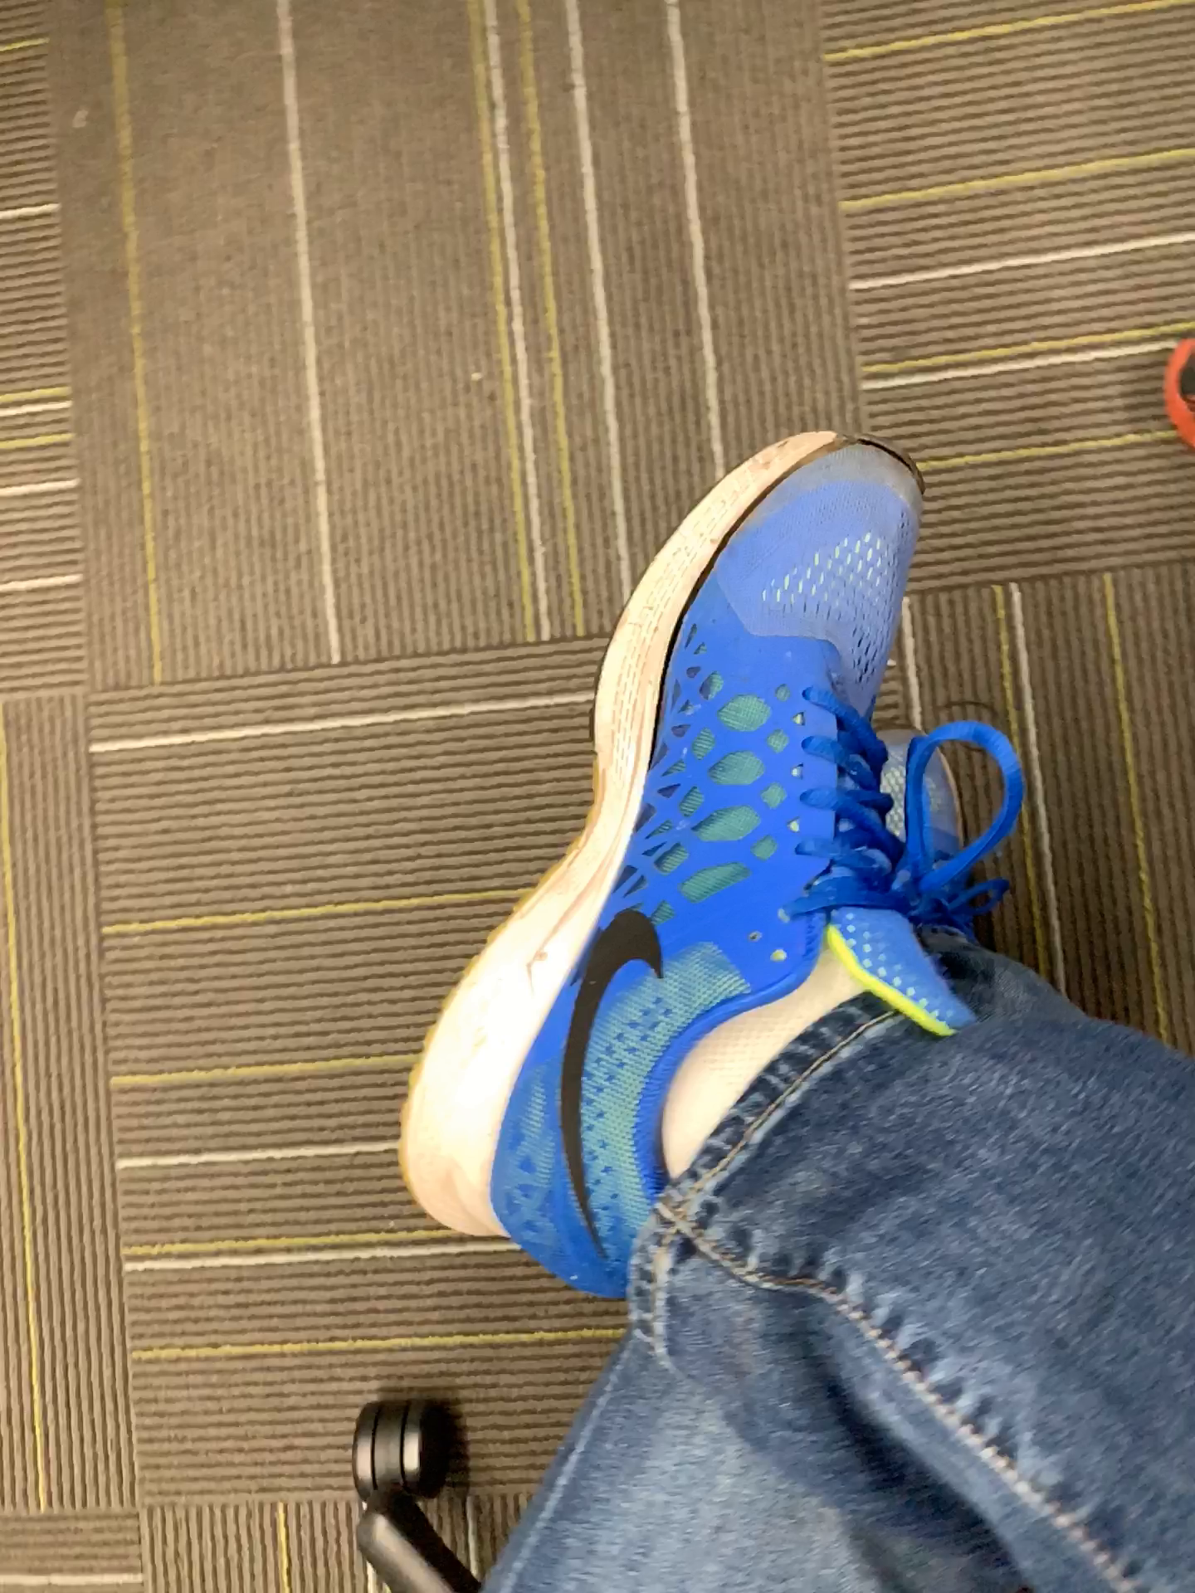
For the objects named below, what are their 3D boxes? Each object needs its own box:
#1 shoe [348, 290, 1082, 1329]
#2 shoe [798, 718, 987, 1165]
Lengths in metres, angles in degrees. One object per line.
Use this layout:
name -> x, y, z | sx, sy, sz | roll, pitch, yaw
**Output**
shoe -> 0.044, 0.003, 0.389 | 0.103, 0.117, 0.275 | 20, 89, 33
shoe -> 0.196, 0.095, 0.834 | 0.101, 0.087, 0.283 | -3, 86, 7
